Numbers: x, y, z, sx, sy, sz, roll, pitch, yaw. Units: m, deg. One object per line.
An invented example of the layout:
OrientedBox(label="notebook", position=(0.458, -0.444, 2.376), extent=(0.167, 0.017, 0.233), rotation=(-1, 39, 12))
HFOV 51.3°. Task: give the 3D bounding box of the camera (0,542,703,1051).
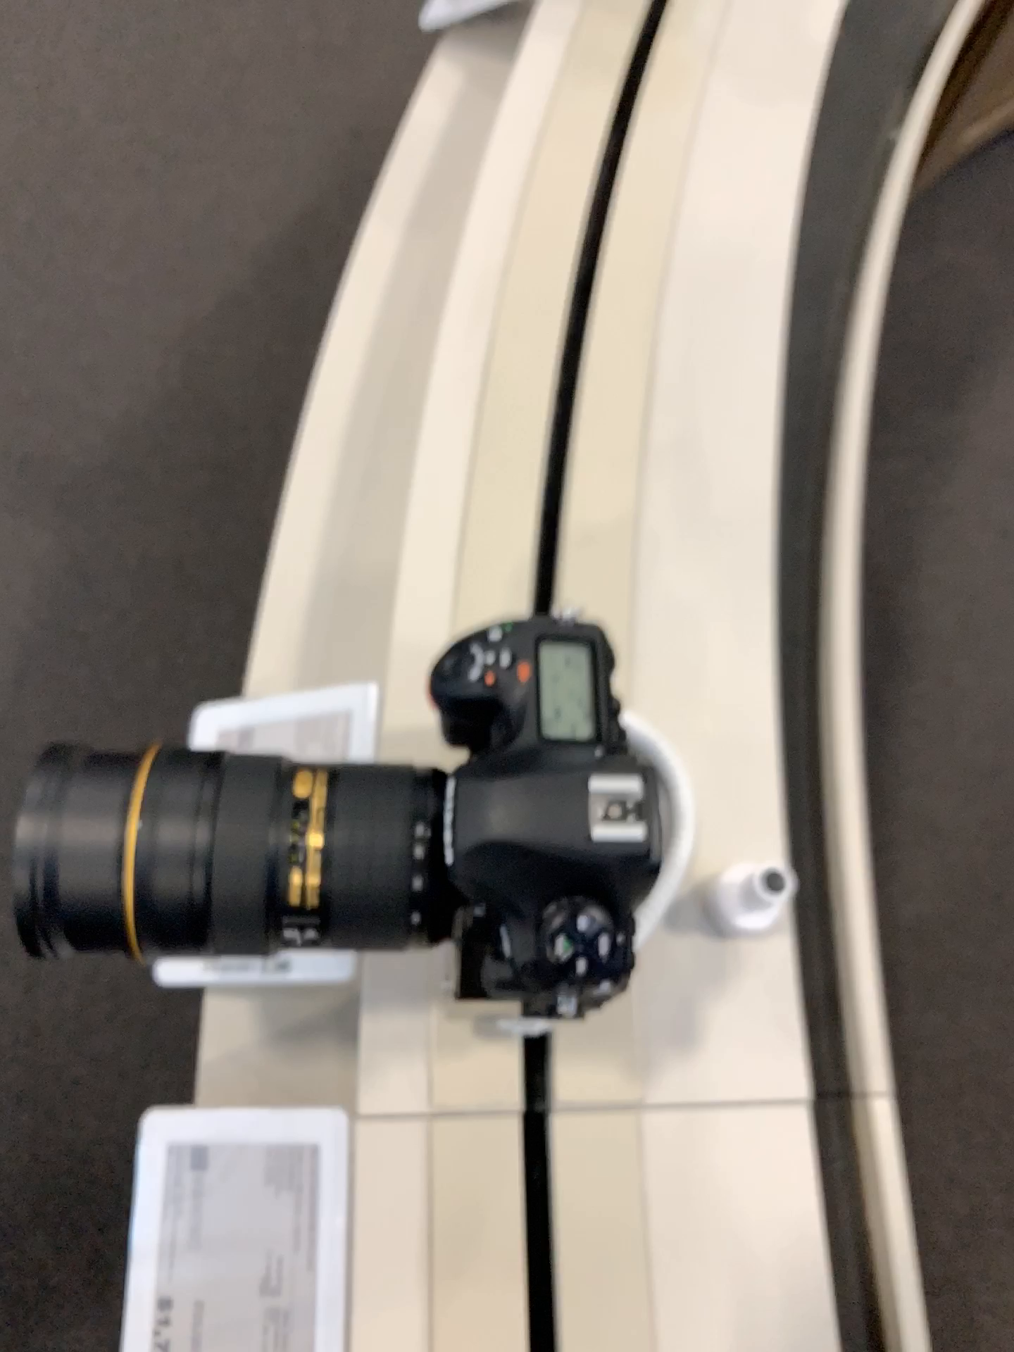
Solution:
OrientedBox(label="camera", position=(-0.065, 0.054, 0.397), extent=(0.240, 0.110, 0.160), rotation=(2, 68, -7))
